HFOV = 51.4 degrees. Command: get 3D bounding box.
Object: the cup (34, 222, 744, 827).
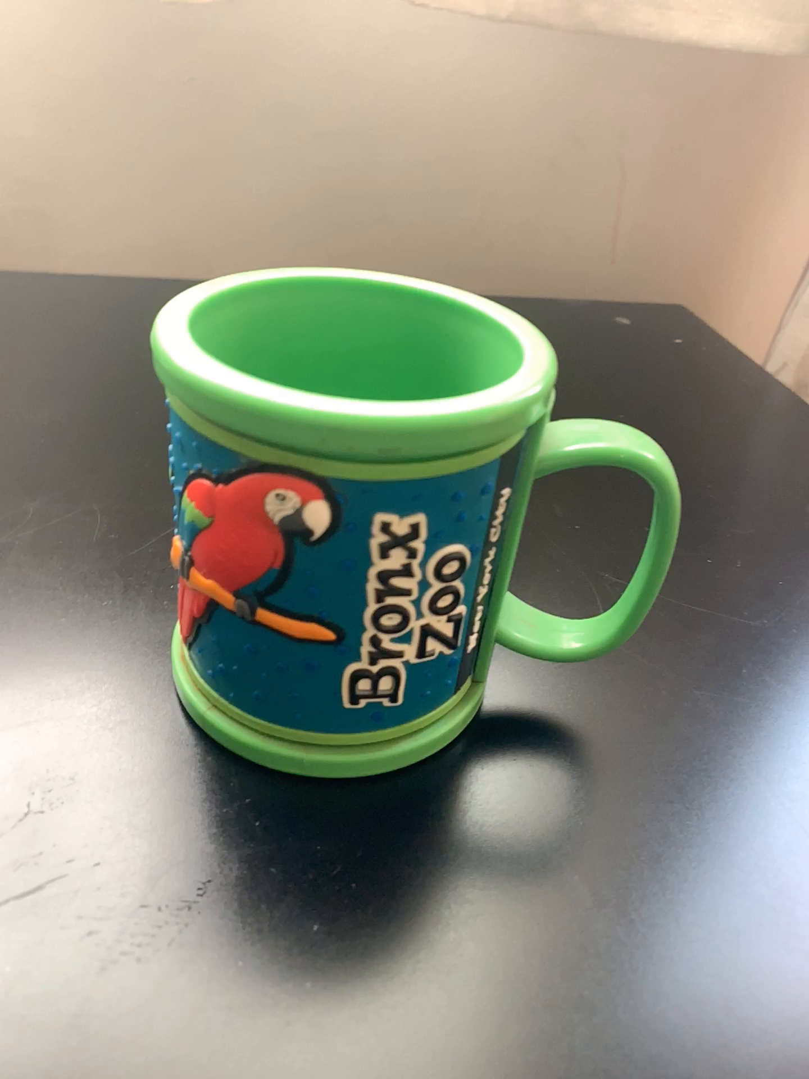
[{"bbox_3d":[-0.004,-0.007,0.201,0.120,0.099,0.081,9,33,2],"label":"cup"}]
